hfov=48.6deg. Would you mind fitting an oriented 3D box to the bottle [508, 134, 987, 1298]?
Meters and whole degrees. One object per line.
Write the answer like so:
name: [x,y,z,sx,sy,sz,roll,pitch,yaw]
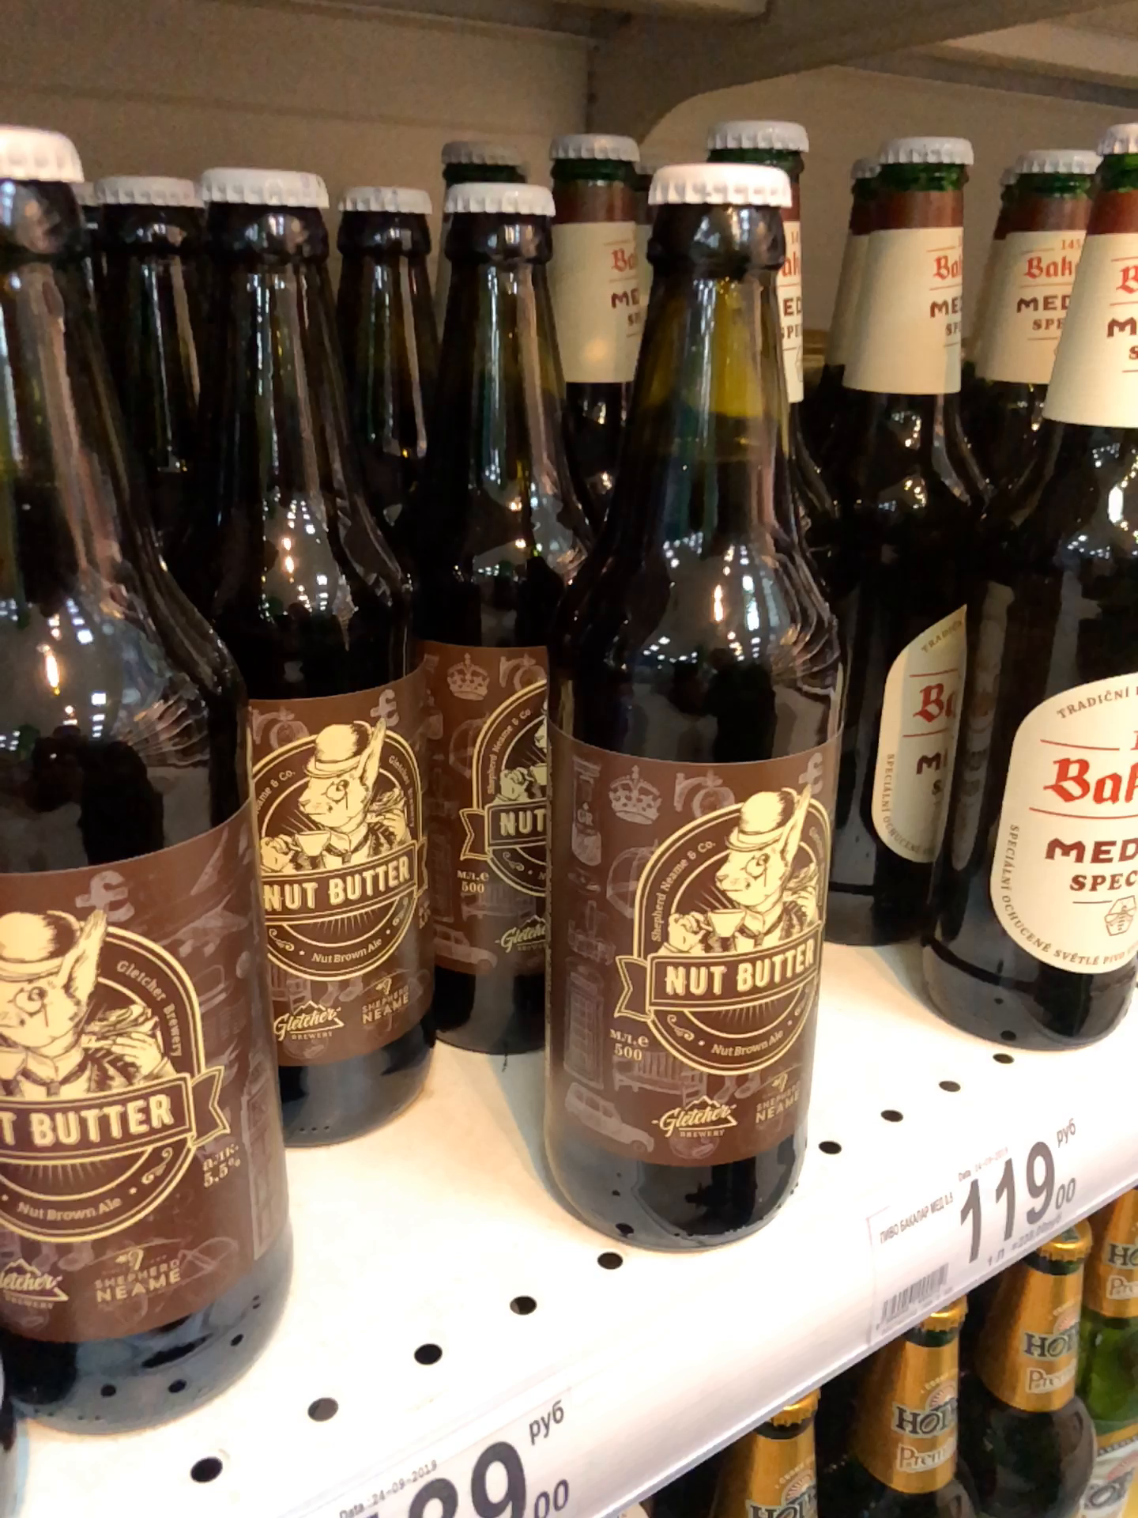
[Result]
bottle: [0.031,-0.004,0.287,0.070,0.240,0.060,-10,23,-27]
